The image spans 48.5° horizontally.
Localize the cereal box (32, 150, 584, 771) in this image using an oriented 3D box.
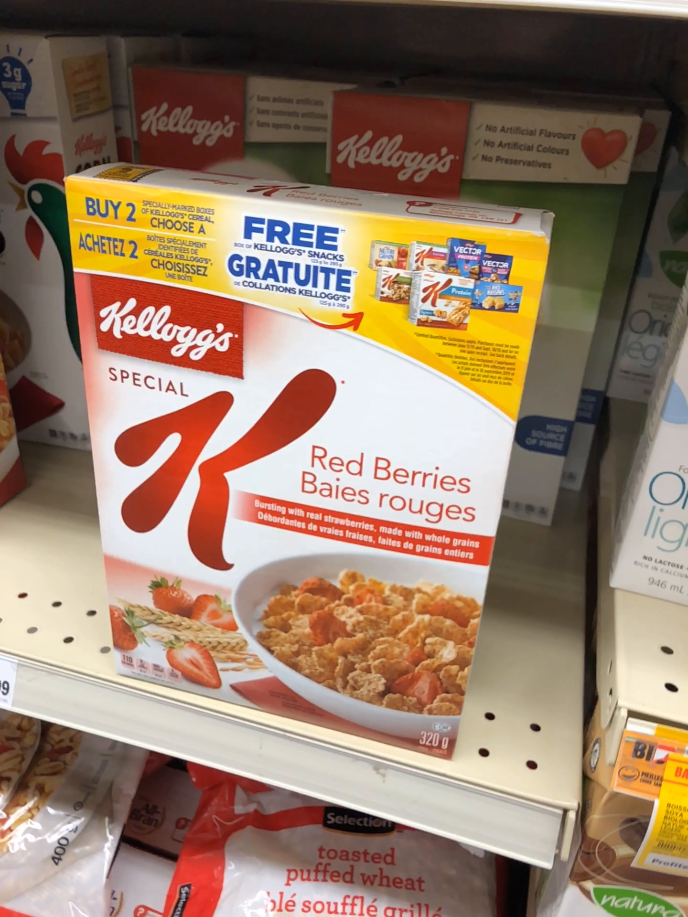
[{"bbox_3d":[-0.018,0.009,0.334,0.190,0.248,0.050,11,31,13],"label":"cereal box"}]
